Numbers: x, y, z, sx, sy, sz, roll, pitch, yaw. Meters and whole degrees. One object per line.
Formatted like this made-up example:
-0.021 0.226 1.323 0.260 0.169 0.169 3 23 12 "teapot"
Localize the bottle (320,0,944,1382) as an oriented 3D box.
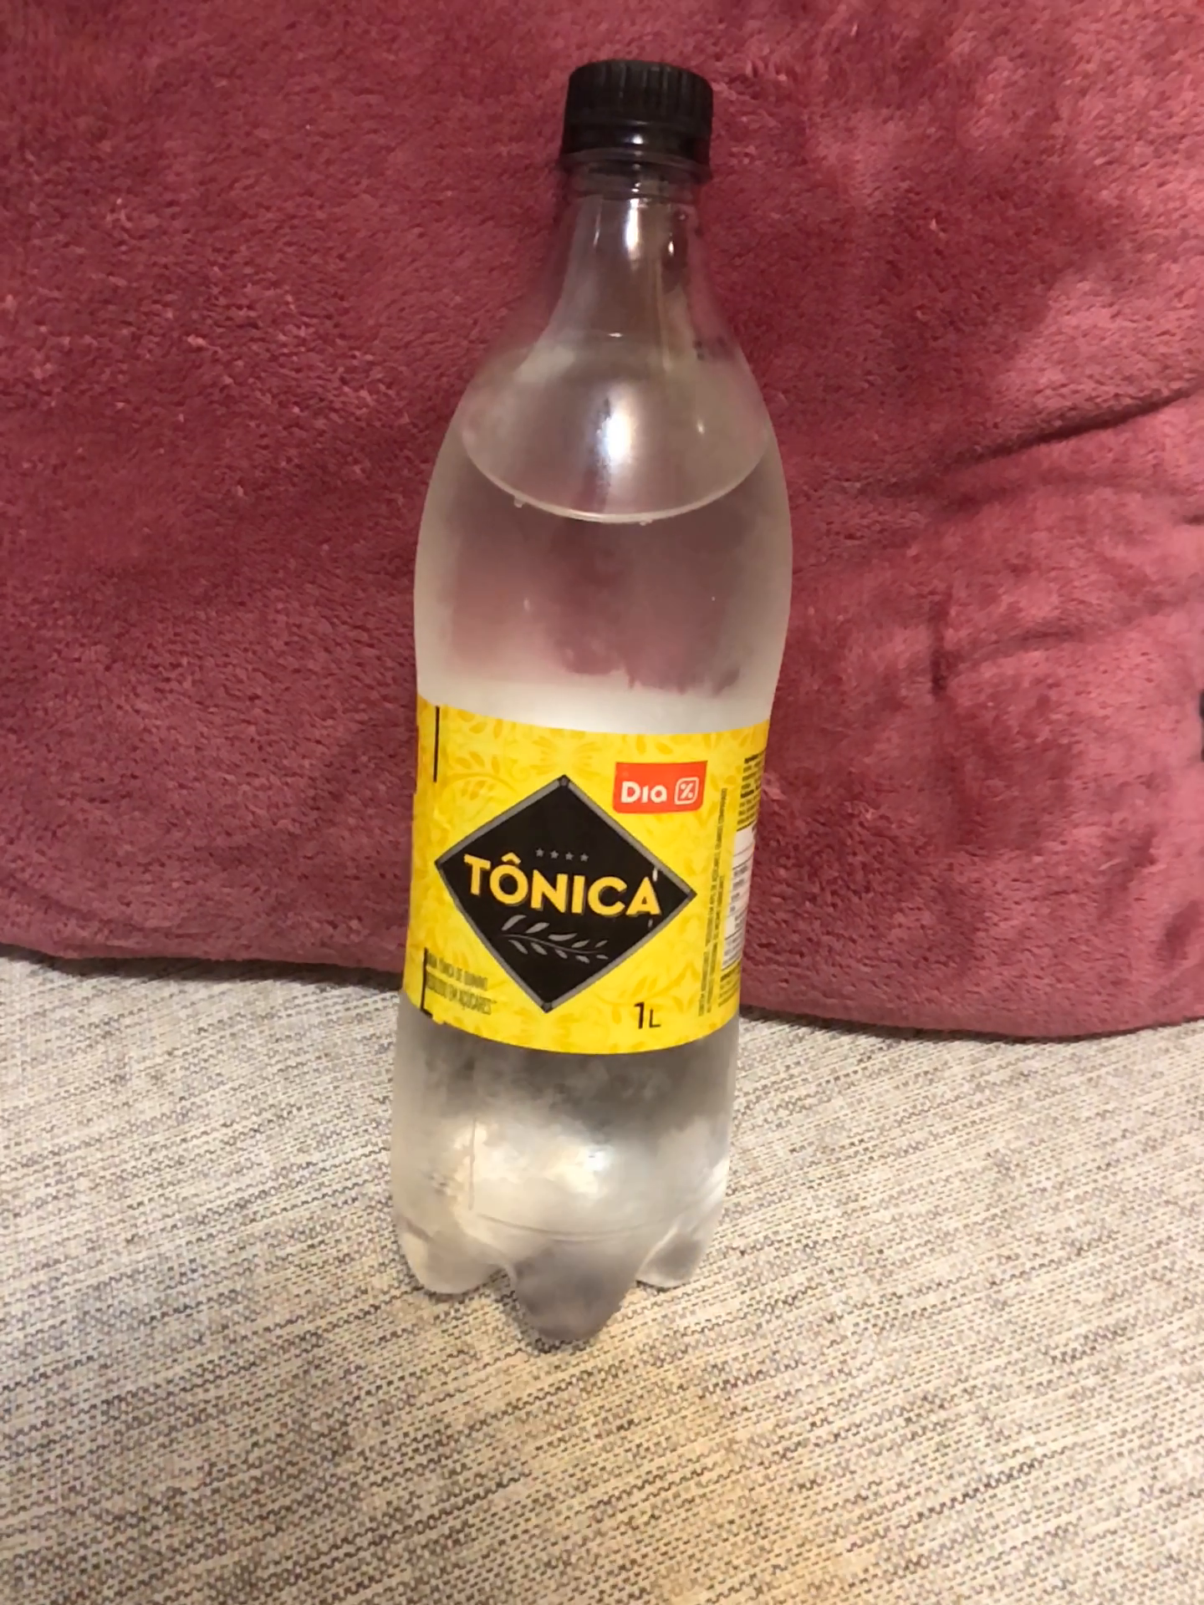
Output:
0.000 -0.018 0.310 0.100 0.269 0.100 4 16 -1 "bottle"
